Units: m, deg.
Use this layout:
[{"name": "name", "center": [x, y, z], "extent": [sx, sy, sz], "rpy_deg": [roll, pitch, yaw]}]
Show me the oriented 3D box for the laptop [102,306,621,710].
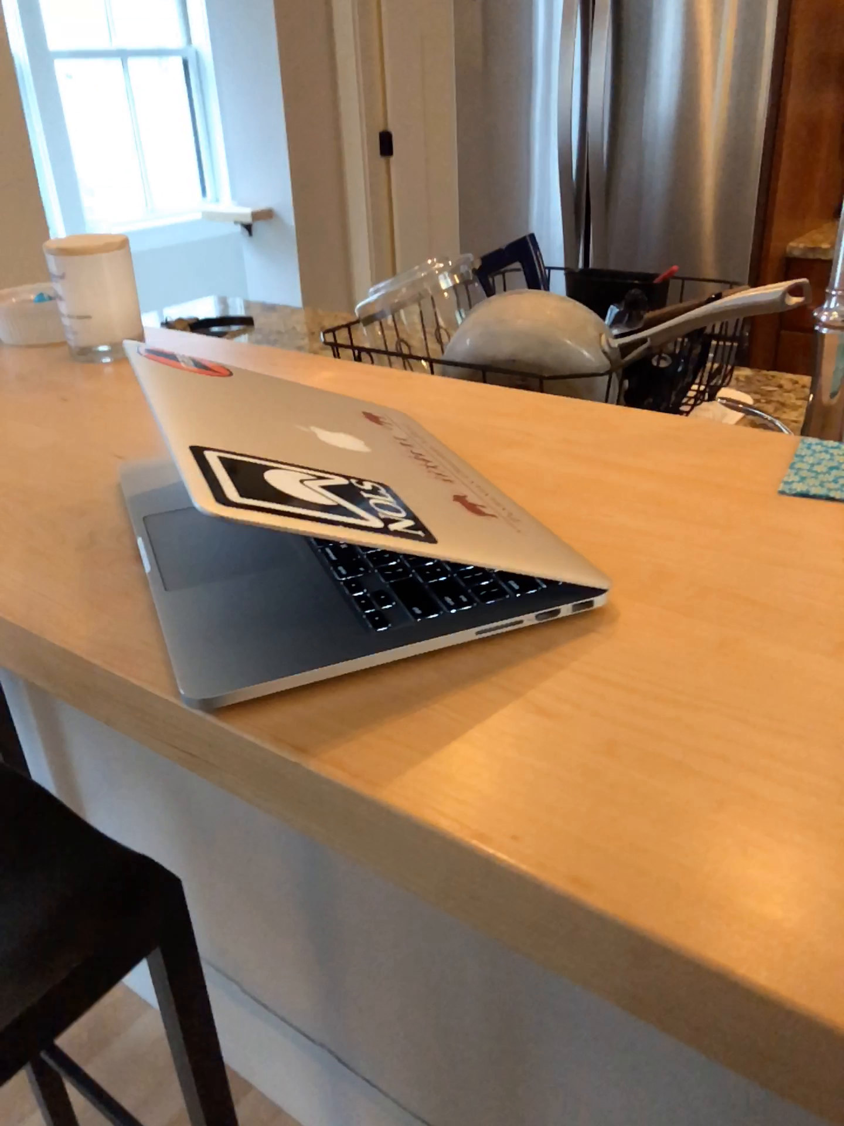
[{"name": "laptop", "center": [-0.058, -0.062, 0.535], "extent": [0.210, 0.084, 0.301], "rpy_deg": [-13, 30, -17]}]
